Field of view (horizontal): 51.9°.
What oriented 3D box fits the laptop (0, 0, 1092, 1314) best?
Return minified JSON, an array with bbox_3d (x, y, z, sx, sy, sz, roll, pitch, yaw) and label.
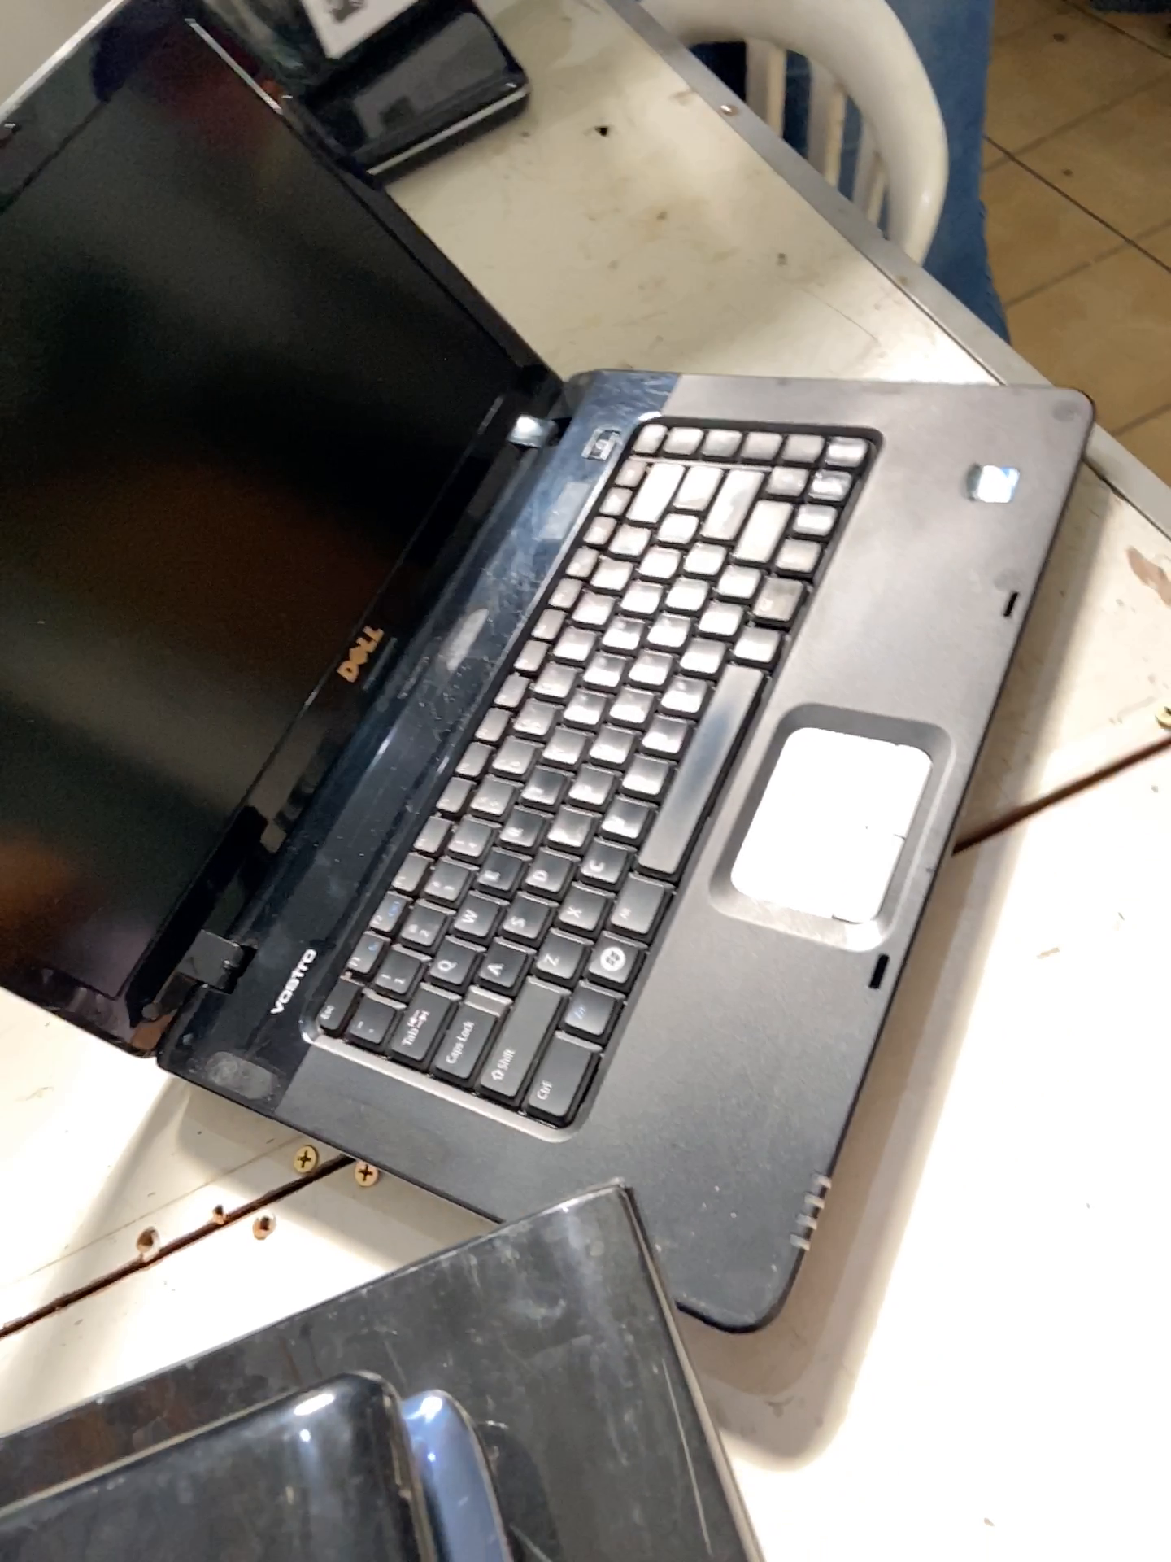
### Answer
[{"bbox_3d":[-0.057,-0.093,0.412,0.353,0.203,0.365,13,63,30],"label":"laptop"}]
